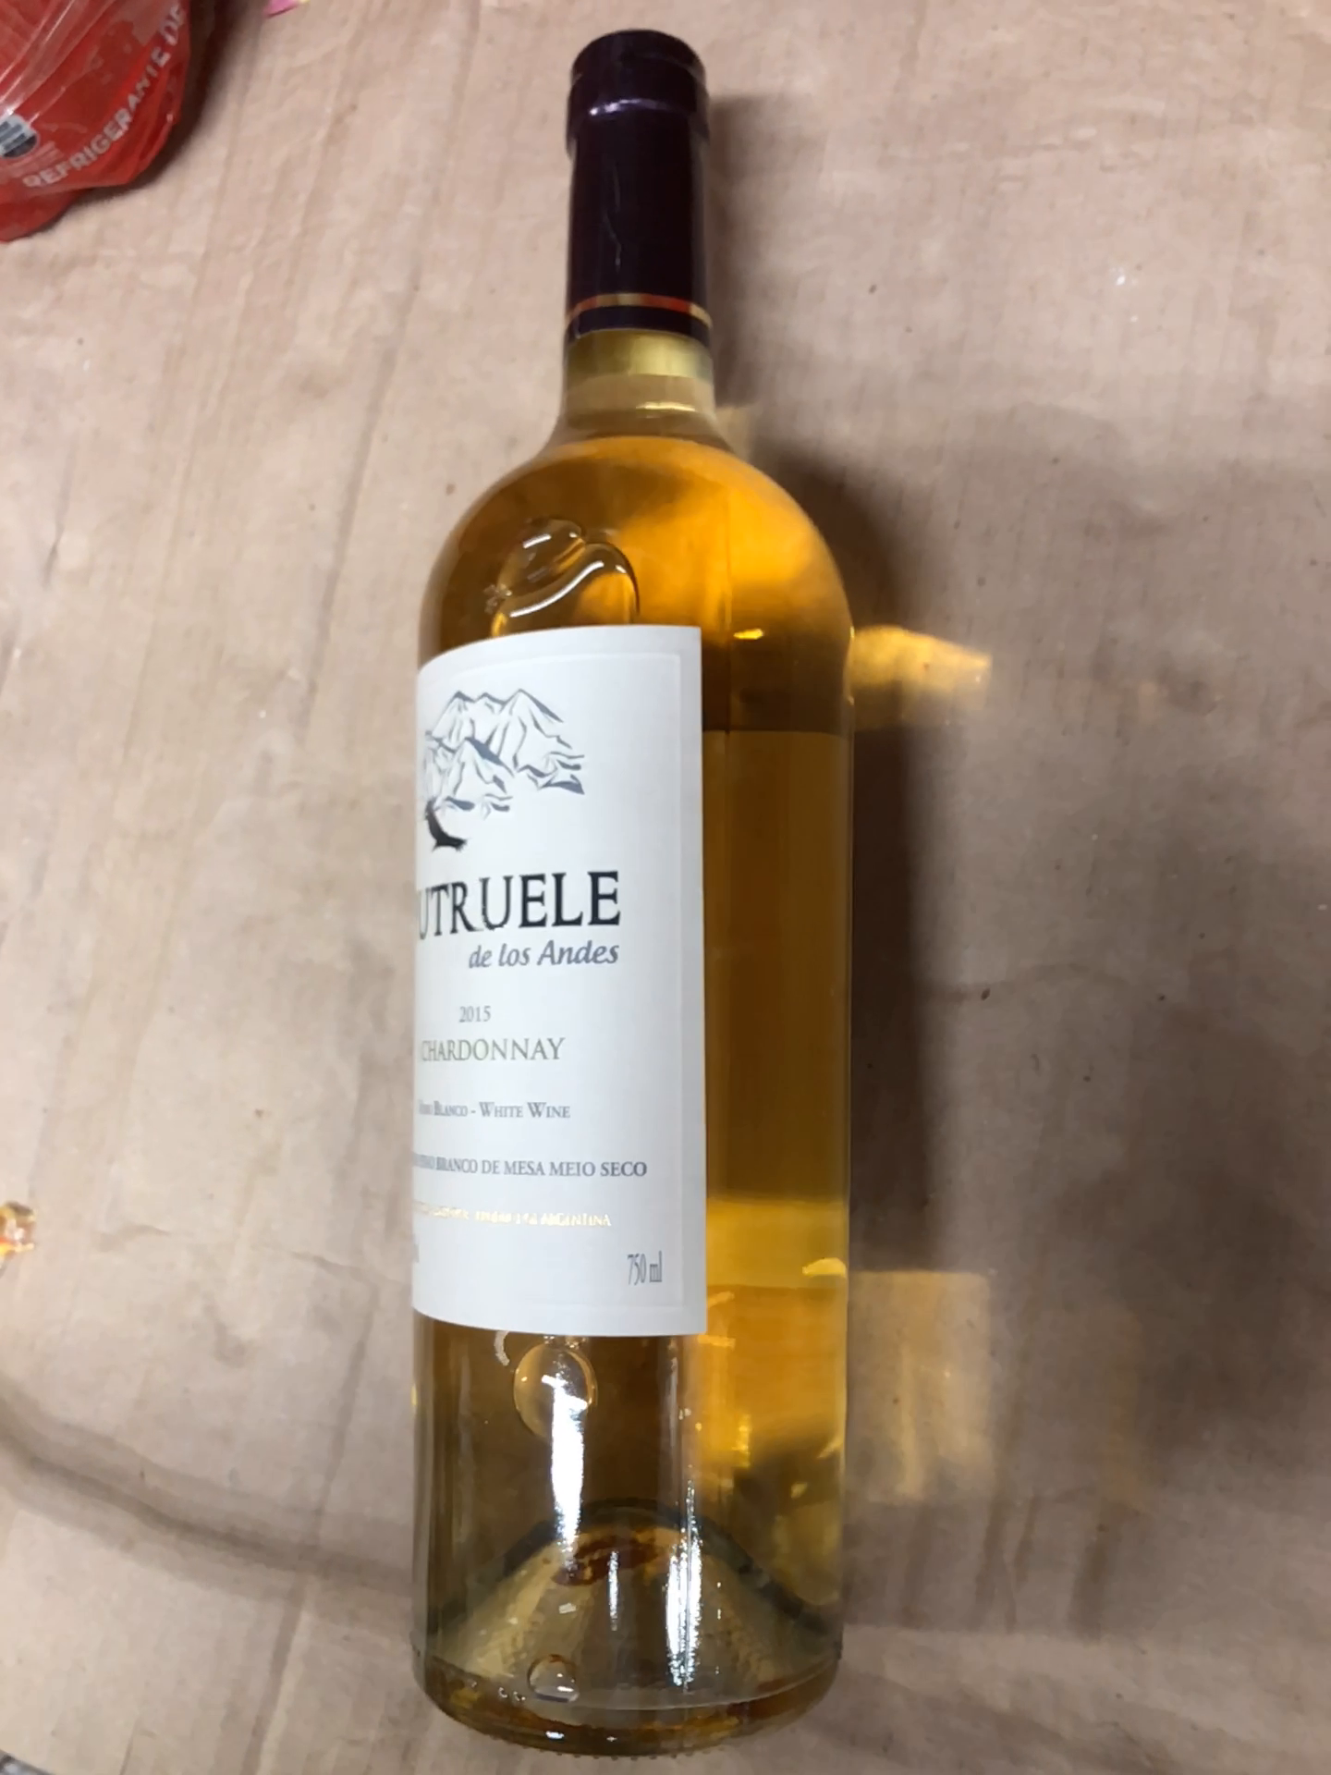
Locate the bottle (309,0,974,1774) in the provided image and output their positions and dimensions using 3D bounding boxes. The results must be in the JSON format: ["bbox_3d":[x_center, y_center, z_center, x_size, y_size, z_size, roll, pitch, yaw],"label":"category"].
[{"bbox_3d":[-0.003,-0.018,0.262,0.080,0.070,0.300,-7,78,39],"label":"bottle"}]
